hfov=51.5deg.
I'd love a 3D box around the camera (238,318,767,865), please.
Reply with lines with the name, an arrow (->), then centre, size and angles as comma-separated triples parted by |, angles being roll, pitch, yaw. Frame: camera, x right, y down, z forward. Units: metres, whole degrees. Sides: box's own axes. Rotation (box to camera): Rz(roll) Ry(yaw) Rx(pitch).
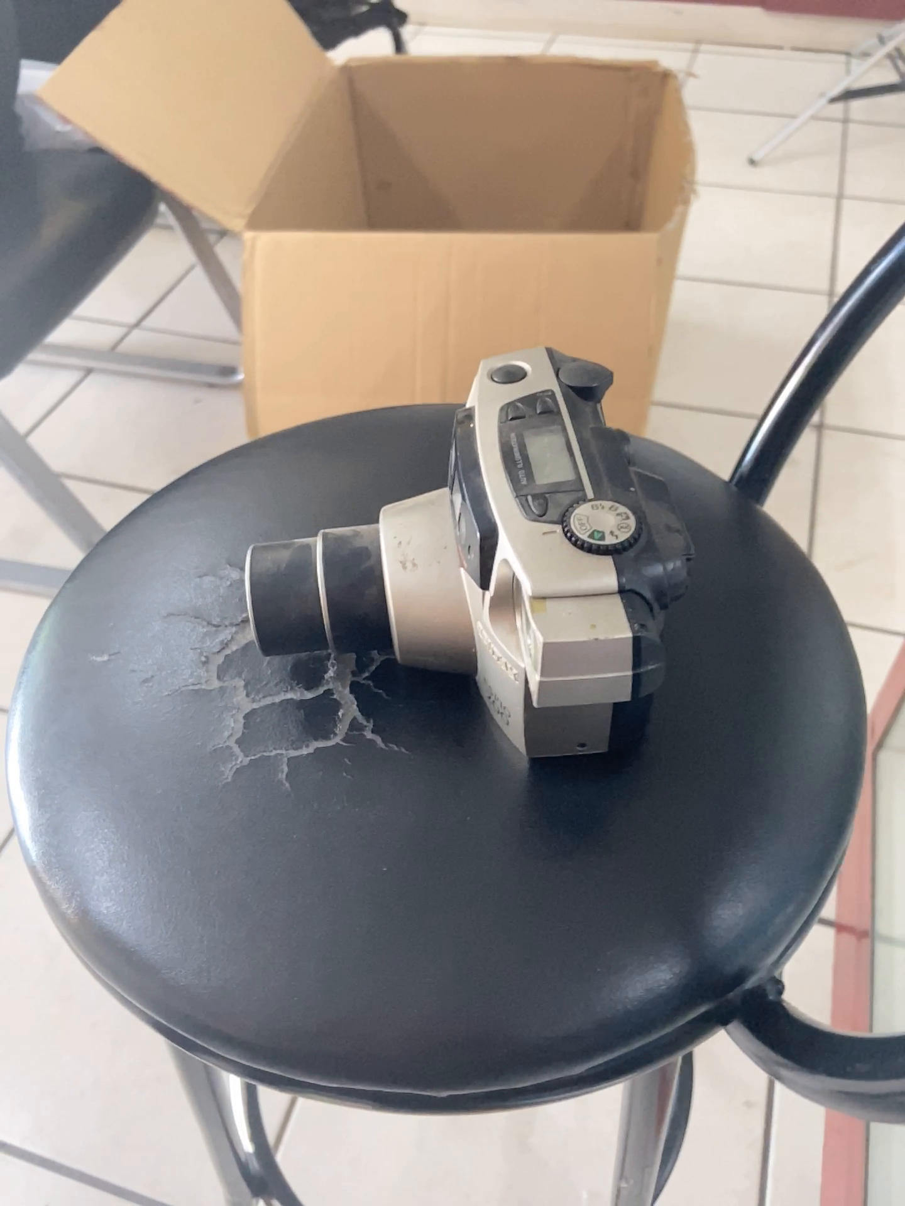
camera -> 0.004, -0.009, 0.284 | 0.120, 0.080, 0.131 | -9, 47, -4
